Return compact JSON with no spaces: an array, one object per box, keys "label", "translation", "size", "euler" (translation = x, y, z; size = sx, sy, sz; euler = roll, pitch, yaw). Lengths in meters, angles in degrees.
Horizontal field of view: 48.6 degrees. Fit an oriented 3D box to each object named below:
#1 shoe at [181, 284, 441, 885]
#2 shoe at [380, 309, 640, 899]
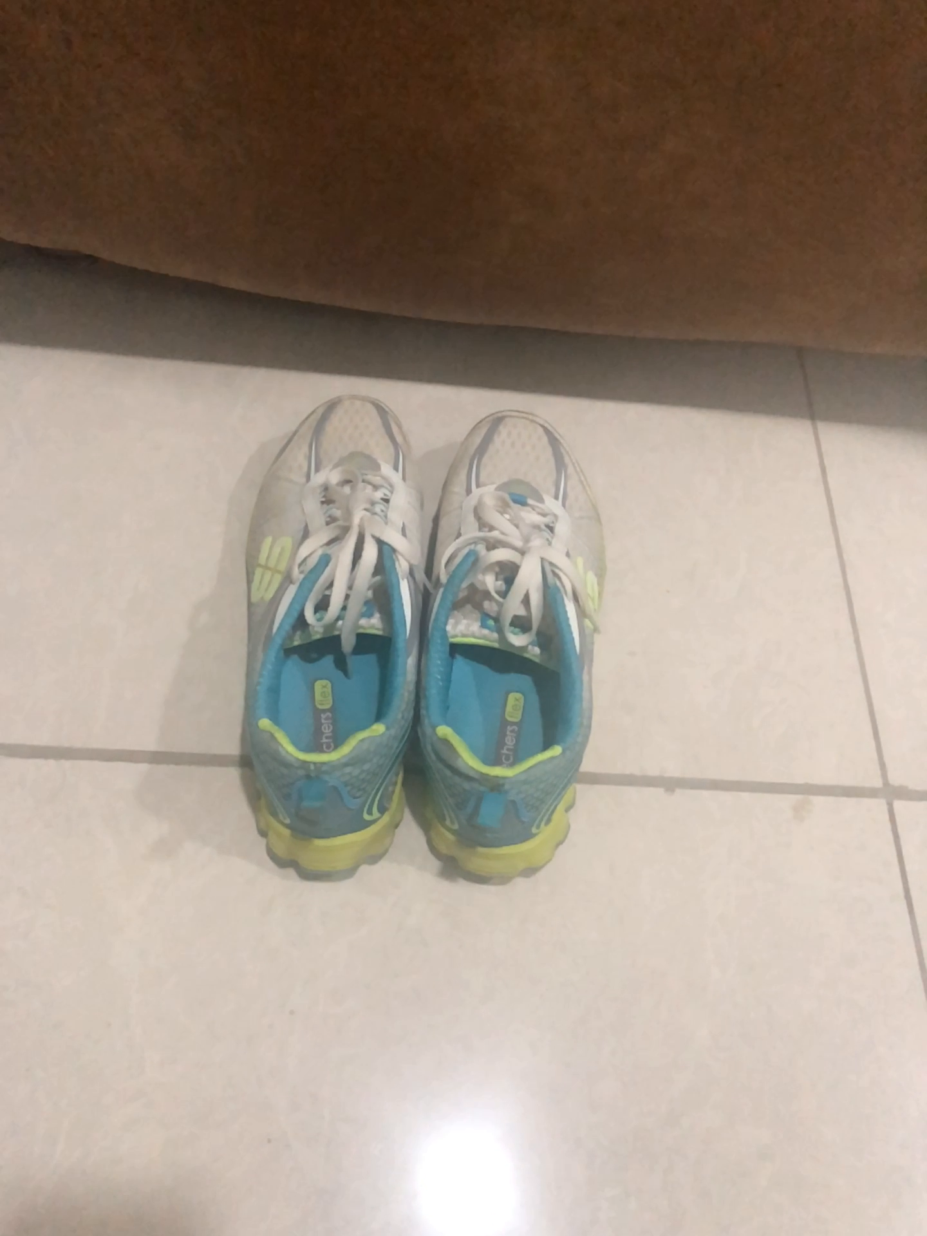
[{"label":"shoe","translation":[-0.067,-0.026,0.534],"size":[0.100,0.100,0.300],"euler":[3,60,-4]},{"label":"shoe","translation":[0.027,-0.016,0.555],"size":[0.110,0.100,0.300],"euler":[6,60,-2]}]
